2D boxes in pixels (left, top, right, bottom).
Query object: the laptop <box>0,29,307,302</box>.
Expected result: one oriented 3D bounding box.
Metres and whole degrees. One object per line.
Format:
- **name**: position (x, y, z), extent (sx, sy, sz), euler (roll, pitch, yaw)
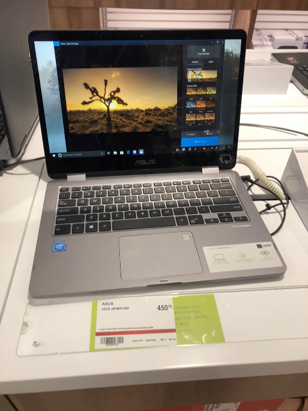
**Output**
- **laptop**: position (-0.001, -0.078, 0.453), extent (0.319, 0.211, 0.291), euler (-5, 42, -7)
